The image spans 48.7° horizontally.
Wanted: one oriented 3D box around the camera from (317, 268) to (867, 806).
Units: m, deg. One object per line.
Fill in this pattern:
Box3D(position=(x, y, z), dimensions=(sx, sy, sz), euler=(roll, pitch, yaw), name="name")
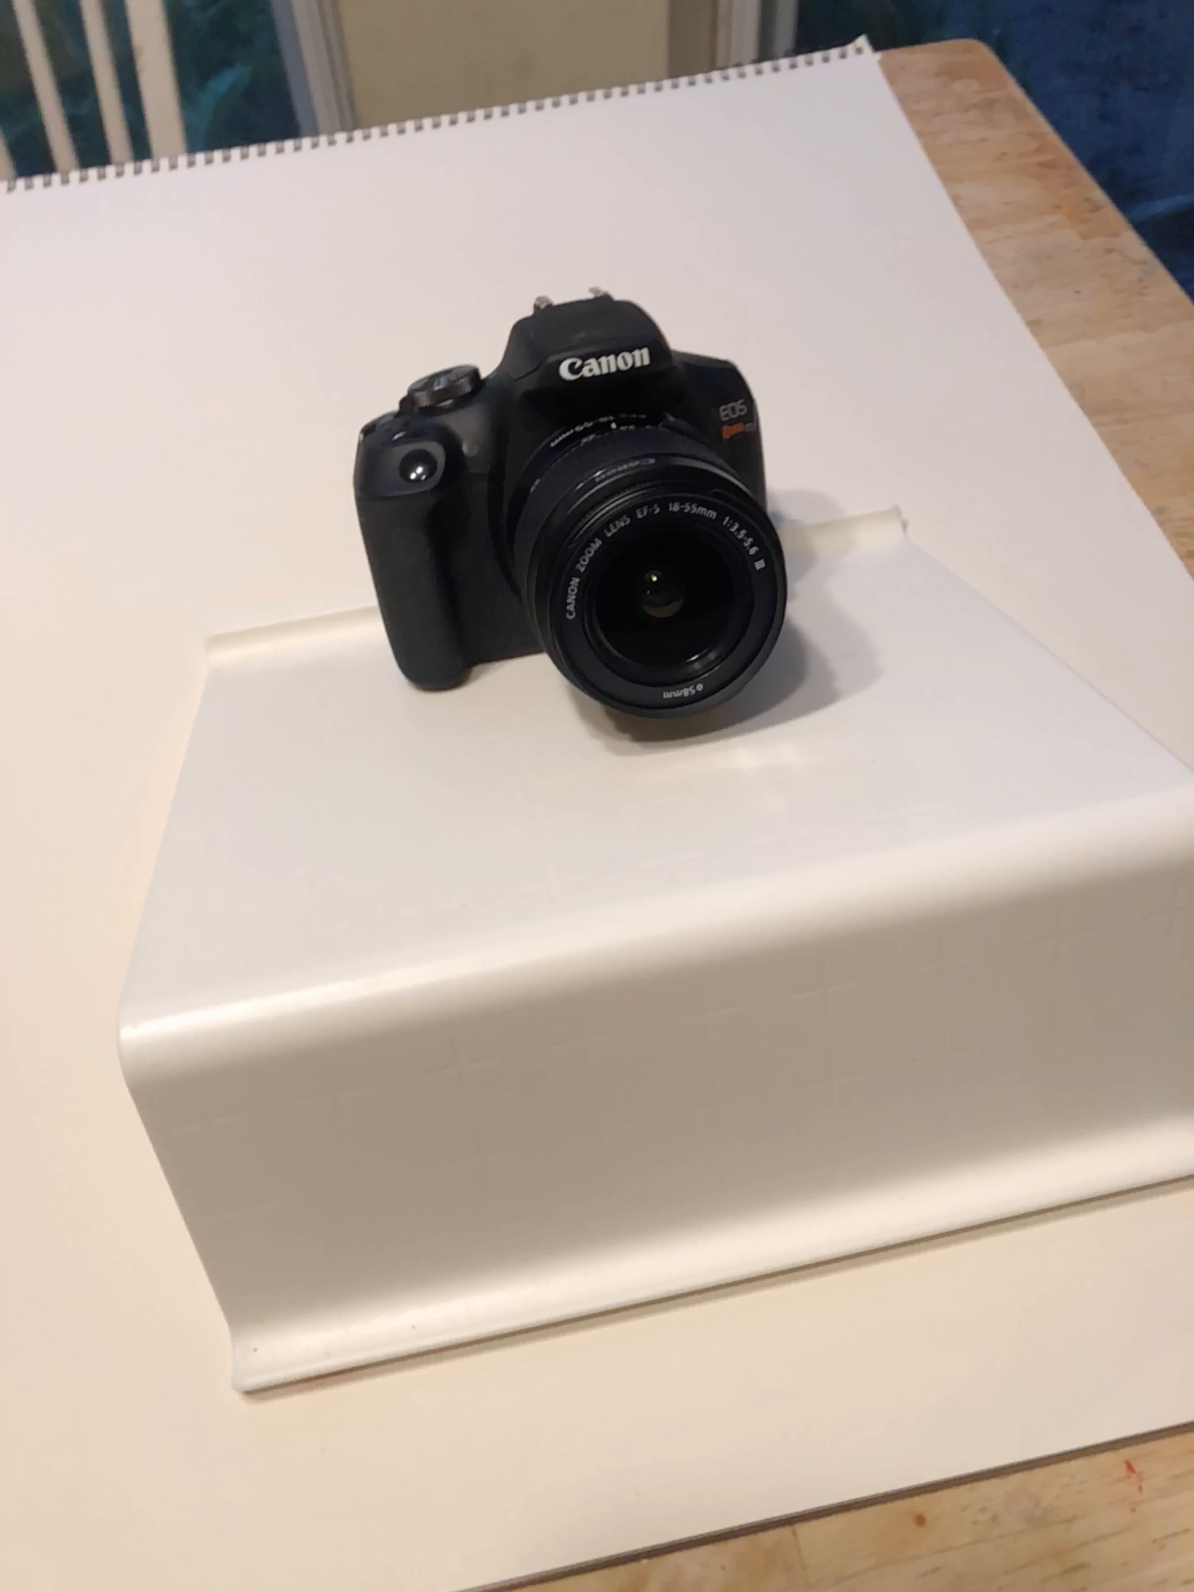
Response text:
Box3D(position=(-0.006, -0.085, 0.388), dimensions=(0.125, 0.104, 0.141), euler=(-10, 27, -5), name="camera")
